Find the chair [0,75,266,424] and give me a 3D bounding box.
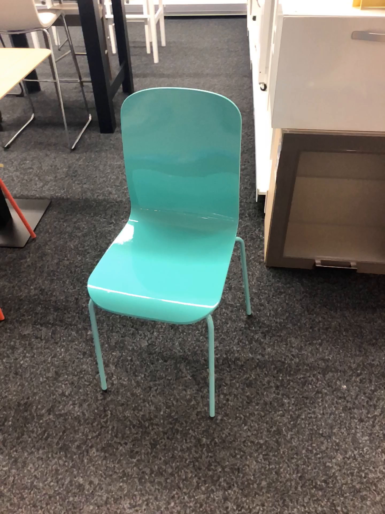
[{"bbox_3d":[-0.095,0.001,1.262,0.490,0.865,0.503,9,43,12],"label":"chair"}]
